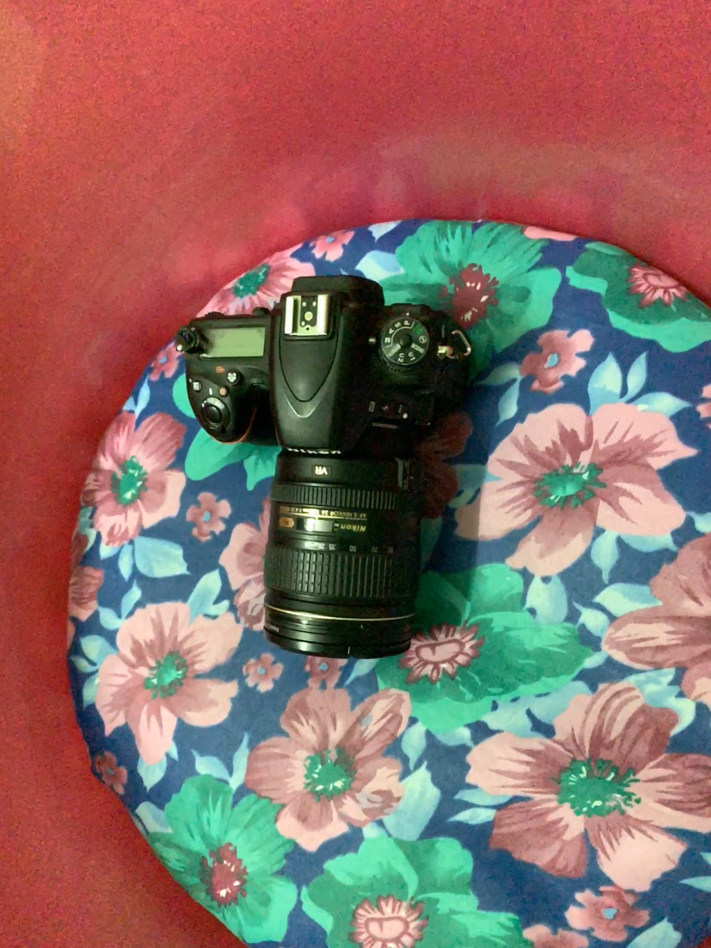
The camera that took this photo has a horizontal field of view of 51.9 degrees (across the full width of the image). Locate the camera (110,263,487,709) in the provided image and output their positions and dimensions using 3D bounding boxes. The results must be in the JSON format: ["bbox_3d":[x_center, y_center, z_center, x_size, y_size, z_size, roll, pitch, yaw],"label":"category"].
[{"bbox_3d":[-0.021,0.004,0.371,0.140,0.111,0.179,4,86,23],"label":"camera"}]
